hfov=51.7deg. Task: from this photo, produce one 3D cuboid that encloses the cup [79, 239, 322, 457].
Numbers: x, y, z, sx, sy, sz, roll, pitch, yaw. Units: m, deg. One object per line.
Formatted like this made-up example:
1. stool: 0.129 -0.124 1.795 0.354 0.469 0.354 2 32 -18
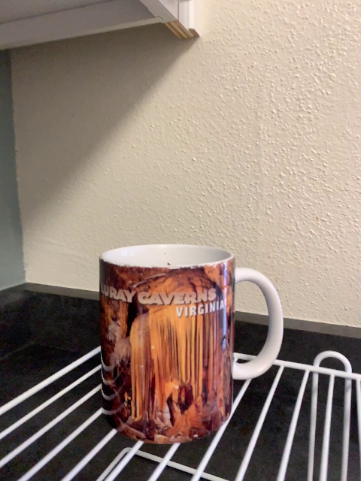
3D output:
1. cup: 0.005 0.052 0.223 0.120 0.090 0.080 -2 9 -11
